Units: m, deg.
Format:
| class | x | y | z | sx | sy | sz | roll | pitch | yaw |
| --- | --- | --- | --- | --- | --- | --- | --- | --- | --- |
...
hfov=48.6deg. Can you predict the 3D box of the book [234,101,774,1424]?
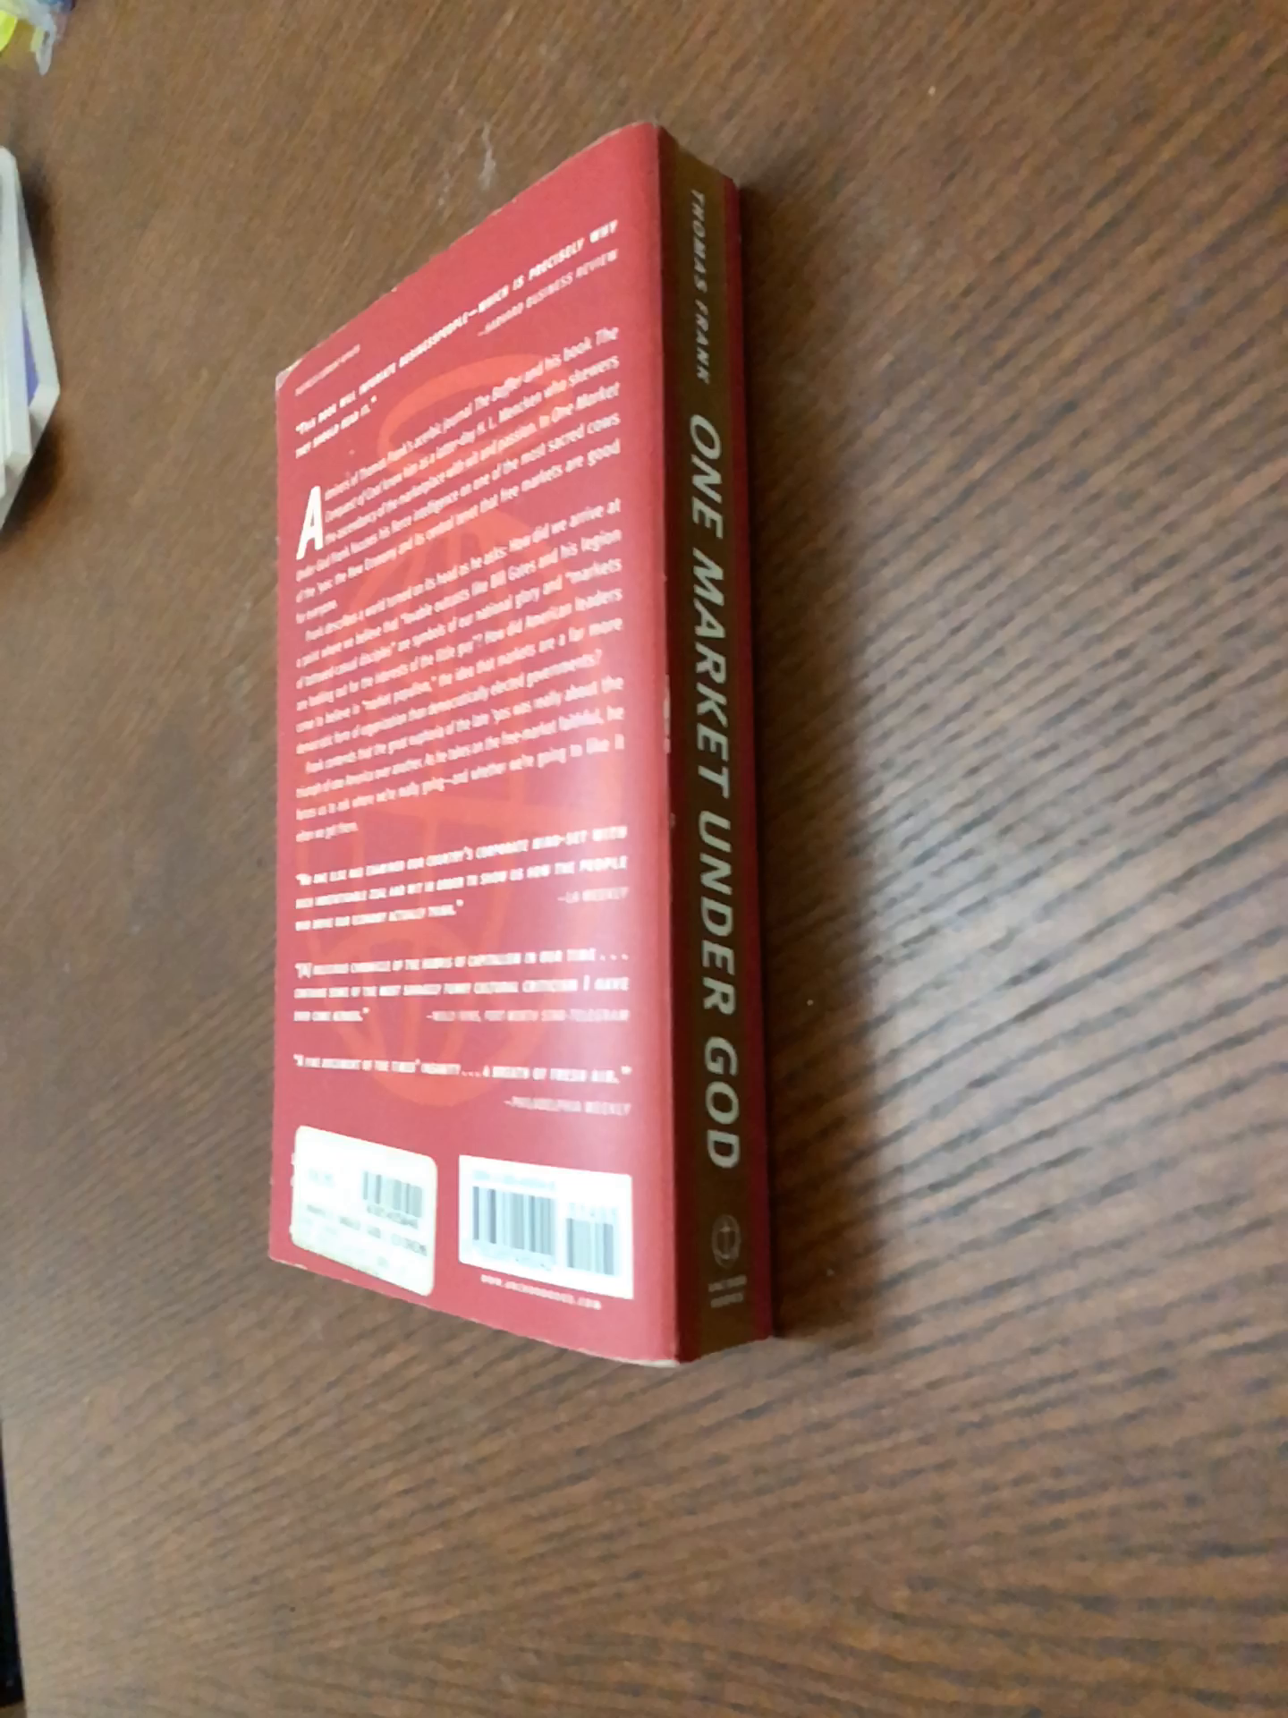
| class | x | y | z | sx | sy | sz | roll | pitch | yaw |
| --- | --- | --- | --- | --- | --- | --- | --- | --- | --- |
| book | -0.037 | -0.014 | 0.287 | 0.141 | 0.030 | 0.210 | -7 | 81 | 50 |
